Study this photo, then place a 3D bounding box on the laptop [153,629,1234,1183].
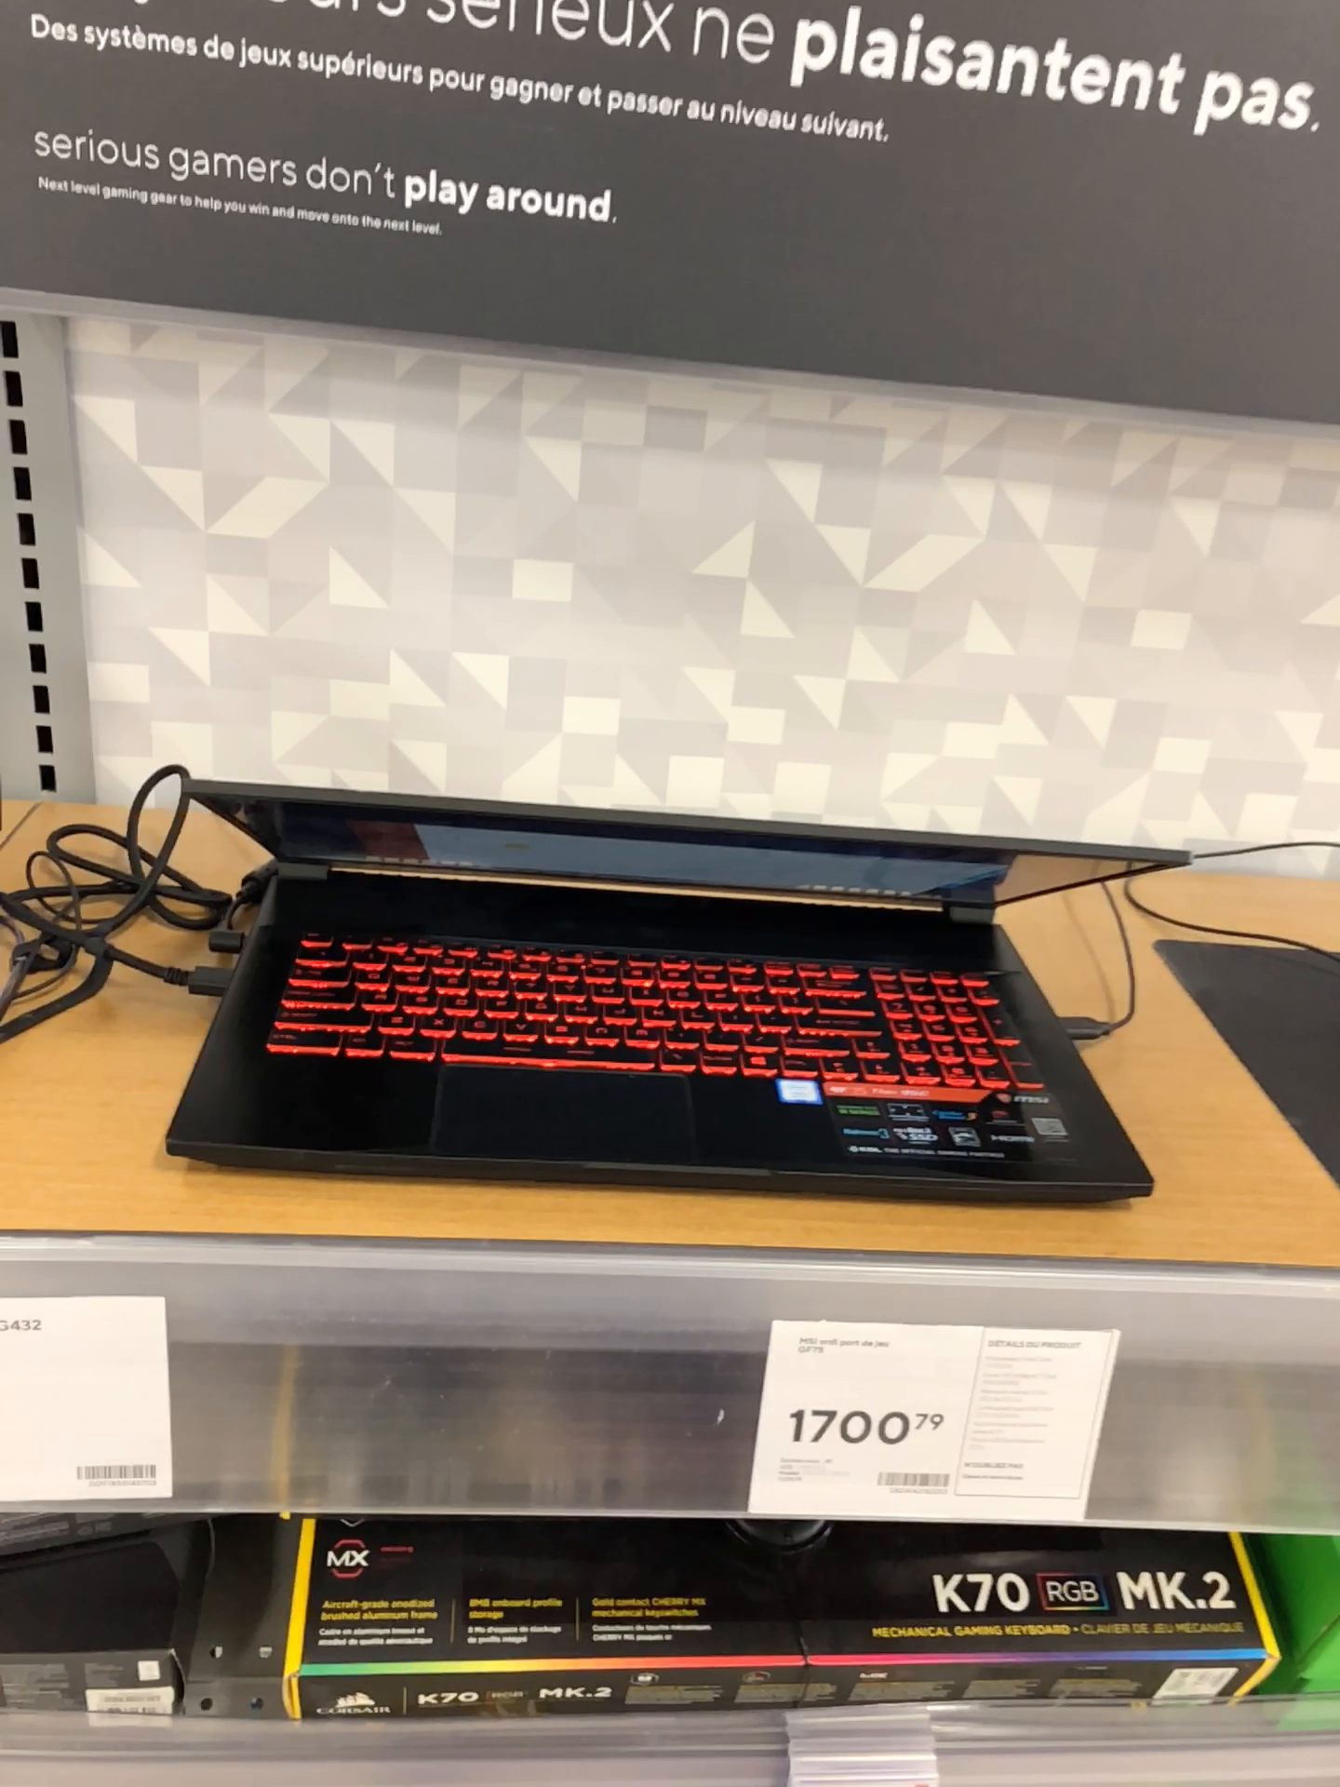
[{"bbox_3d":[0.001,-0.006,0.671,0.393,0.133,0.249,3,26,-6],"label":"laptop"}]
